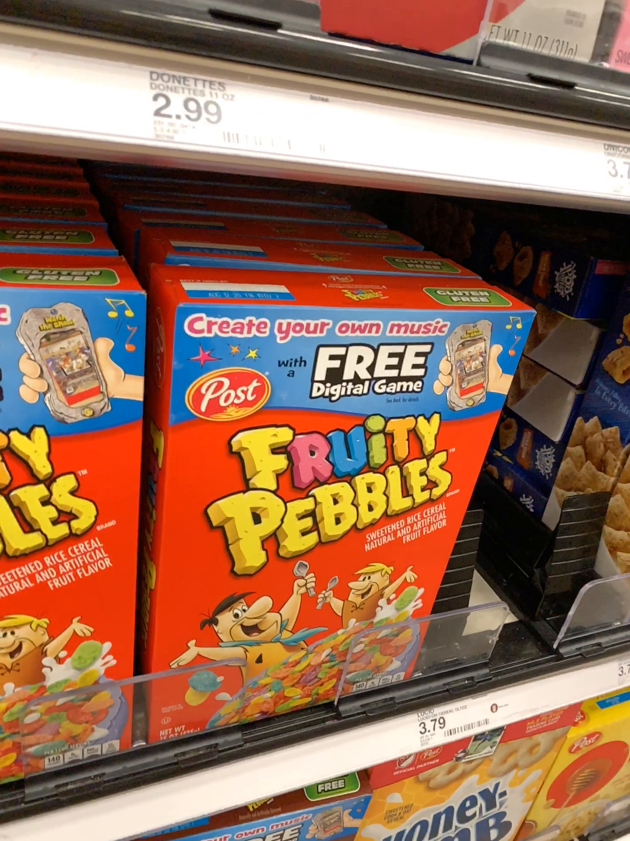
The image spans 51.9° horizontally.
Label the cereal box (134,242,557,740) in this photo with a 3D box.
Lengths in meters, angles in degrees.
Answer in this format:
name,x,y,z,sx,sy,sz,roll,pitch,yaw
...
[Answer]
name,x,y,z,sx,sy,sz,roll,pitch,yaw
cereal box,0.001,0.050,0.392,0.200,0.288,0.060,-3,31,-23
